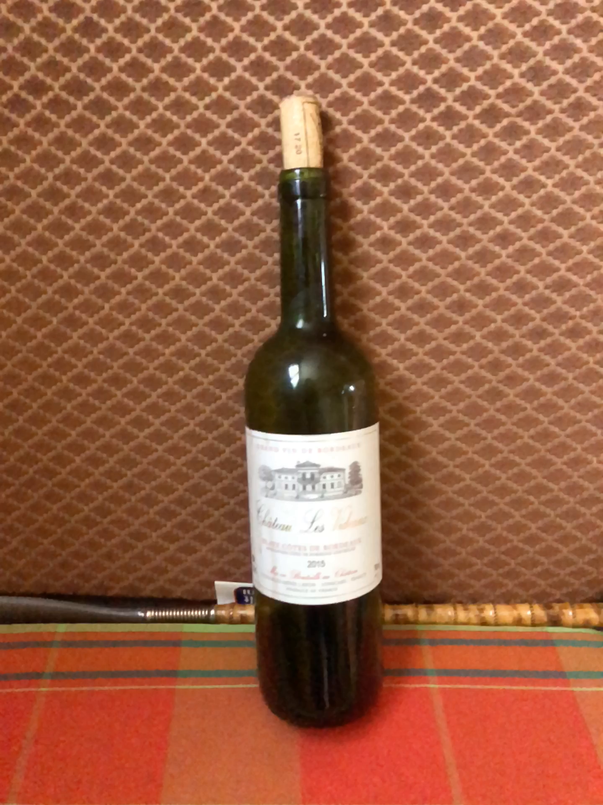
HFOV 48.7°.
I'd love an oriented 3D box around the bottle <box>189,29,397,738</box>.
[{"bbox_3d":[0.004,0.000,0.357,0.080,0.339,0.070,-2,9,10],"label":"bottle"}]
